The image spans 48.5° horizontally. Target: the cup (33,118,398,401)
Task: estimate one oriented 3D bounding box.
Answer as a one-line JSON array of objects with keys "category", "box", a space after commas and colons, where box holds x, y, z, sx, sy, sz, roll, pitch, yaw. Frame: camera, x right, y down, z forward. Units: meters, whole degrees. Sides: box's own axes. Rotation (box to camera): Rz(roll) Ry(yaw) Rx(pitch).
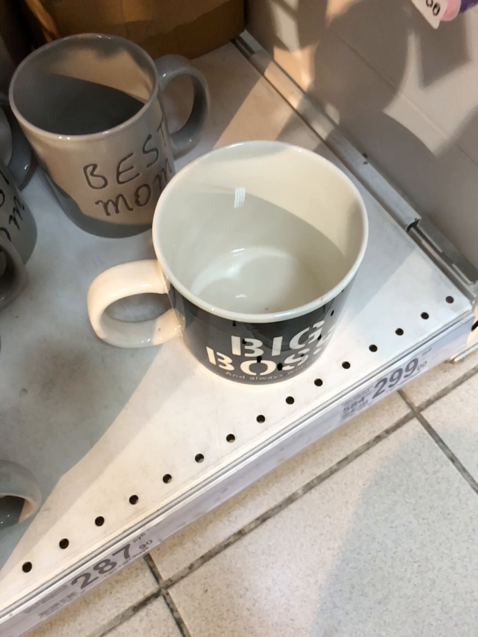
[{"category": "cup", "box": [-0.017, -0.033, 0.355, 0.188, 0.122, 0.128, -5, 65, -2]}]
